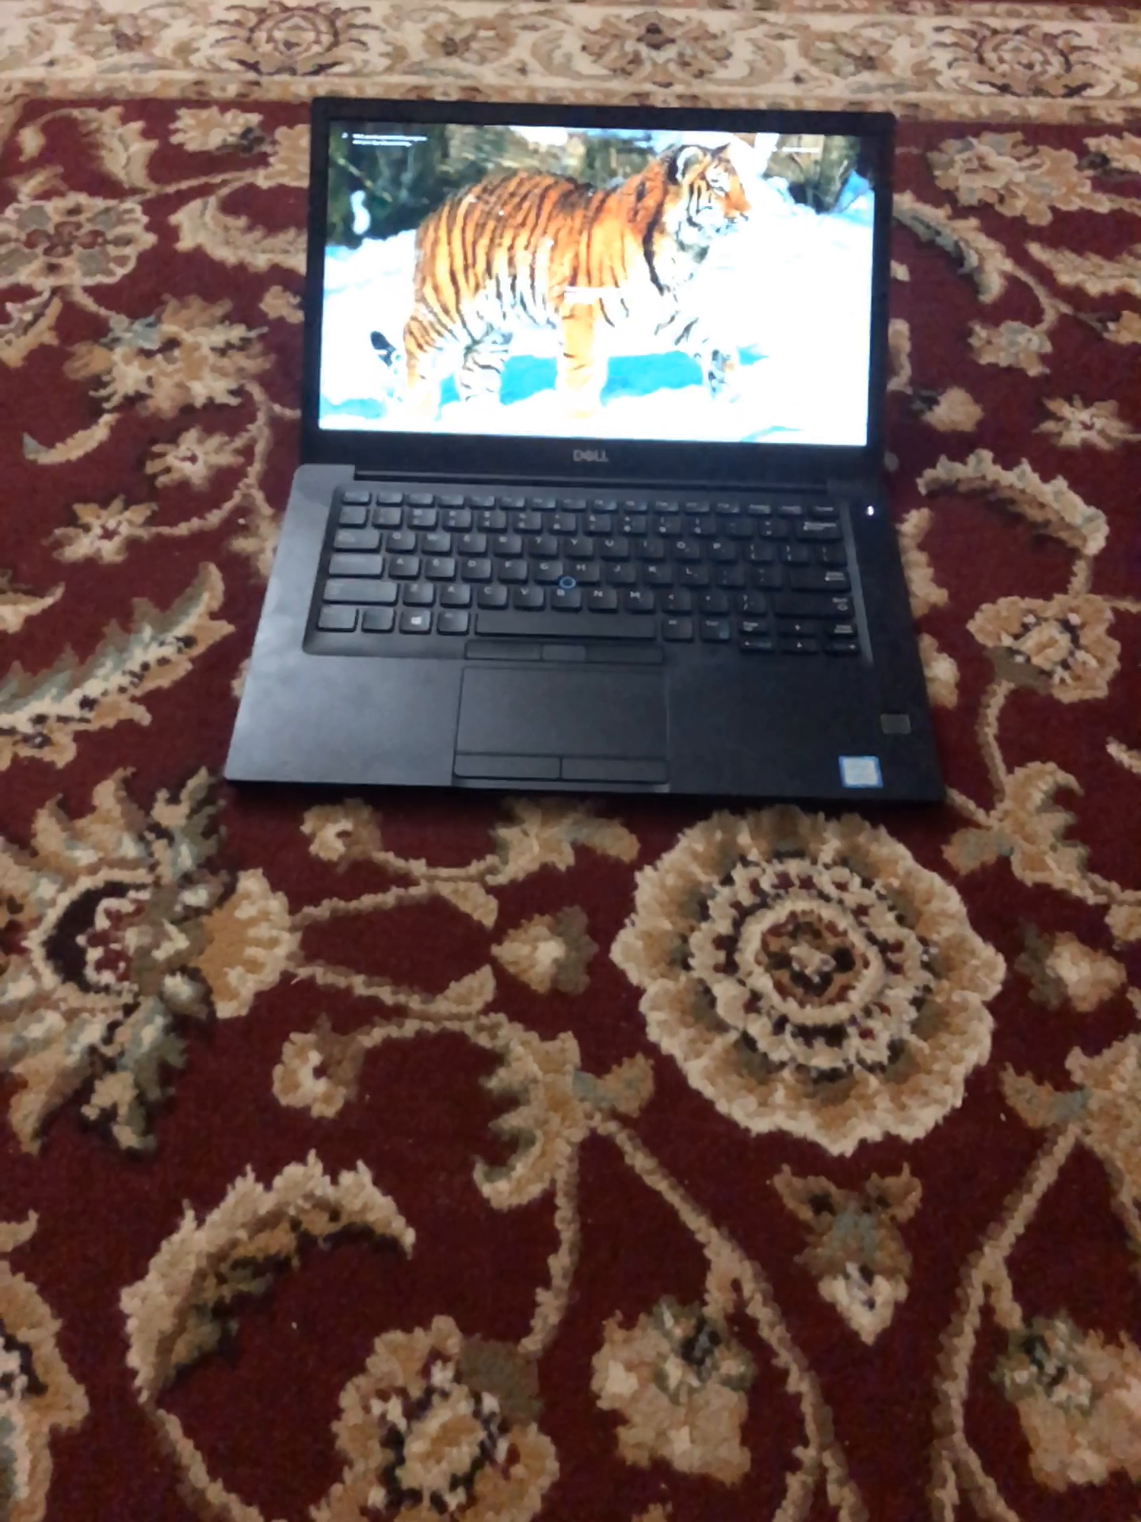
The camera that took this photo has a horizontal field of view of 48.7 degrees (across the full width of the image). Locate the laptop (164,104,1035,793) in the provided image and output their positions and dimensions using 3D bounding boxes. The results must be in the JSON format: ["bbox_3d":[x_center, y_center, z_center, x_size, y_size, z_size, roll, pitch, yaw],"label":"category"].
[{"bbox_3d":[0.014,-0.178,0.642,0.328,0.124,0.384,1,52,1],"label":"laptop"}]
